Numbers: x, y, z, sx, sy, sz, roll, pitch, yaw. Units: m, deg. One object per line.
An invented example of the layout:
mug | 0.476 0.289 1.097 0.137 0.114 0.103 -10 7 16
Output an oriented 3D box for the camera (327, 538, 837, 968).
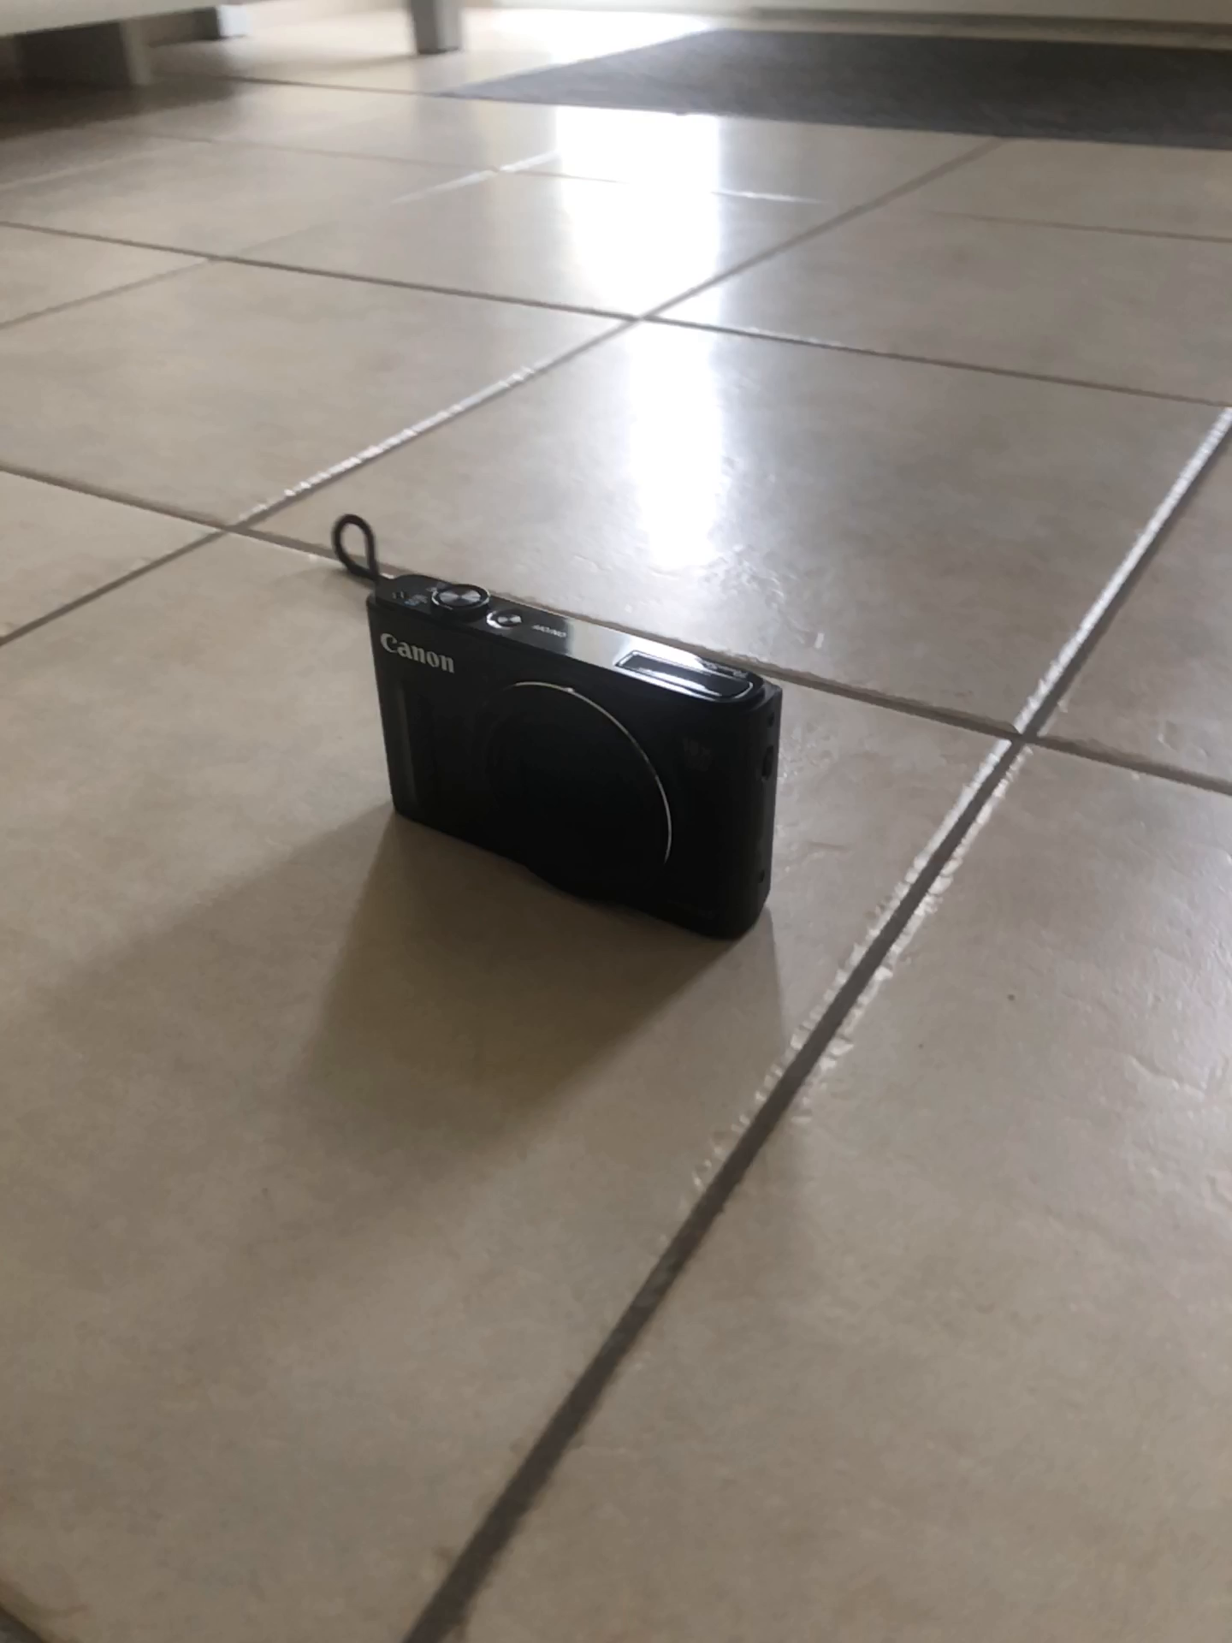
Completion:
camera | -0.009 -0.020 0.317 0.110 0.060 0.040 20 40 28
